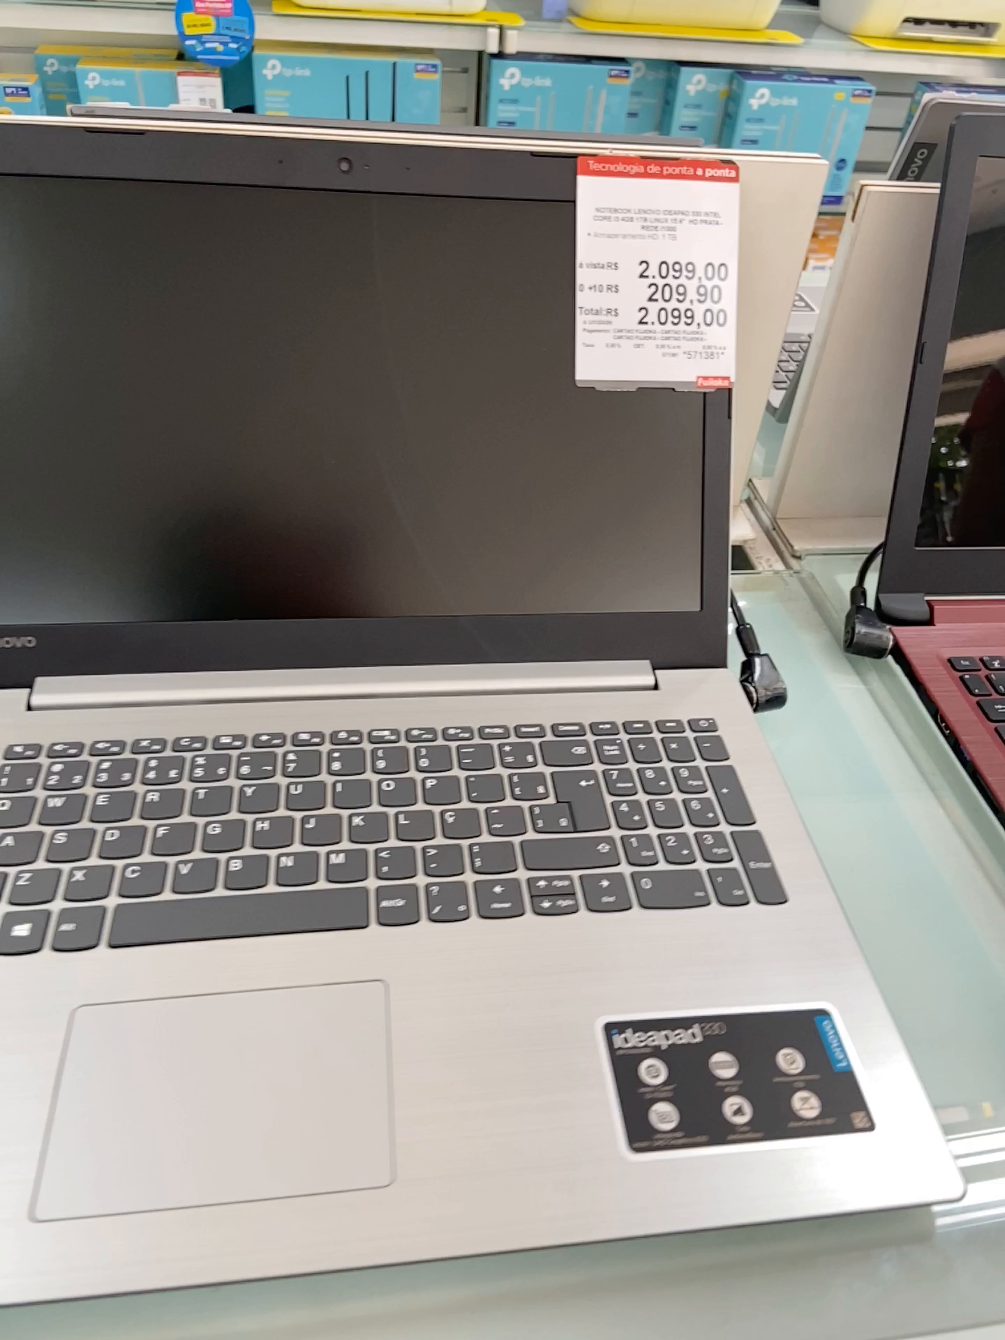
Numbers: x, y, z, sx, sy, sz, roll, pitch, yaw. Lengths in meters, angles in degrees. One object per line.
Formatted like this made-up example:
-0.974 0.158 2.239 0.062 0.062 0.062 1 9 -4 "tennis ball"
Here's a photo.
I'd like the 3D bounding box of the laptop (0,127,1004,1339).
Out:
-0.054 -0.033 0.379 0.370 0.194 0.391 -1 41 -8 "laptop"
